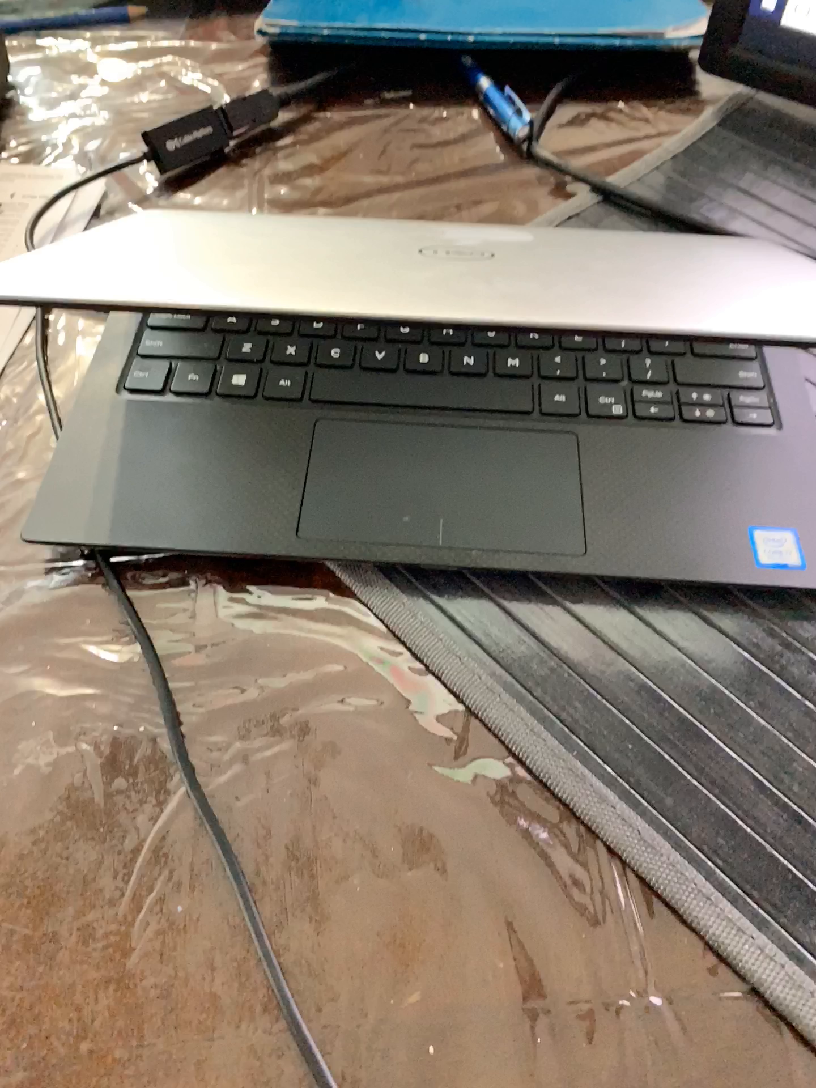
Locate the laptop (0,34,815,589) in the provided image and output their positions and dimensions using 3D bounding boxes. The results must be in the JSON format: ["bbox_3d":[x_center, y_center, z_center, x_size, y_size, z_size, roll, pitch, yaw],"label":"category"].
[{"bbox_3d":[0.018,-0.092,0.308,0.289,0.081,0.183,3,55,0],"label":"laptop"}]
